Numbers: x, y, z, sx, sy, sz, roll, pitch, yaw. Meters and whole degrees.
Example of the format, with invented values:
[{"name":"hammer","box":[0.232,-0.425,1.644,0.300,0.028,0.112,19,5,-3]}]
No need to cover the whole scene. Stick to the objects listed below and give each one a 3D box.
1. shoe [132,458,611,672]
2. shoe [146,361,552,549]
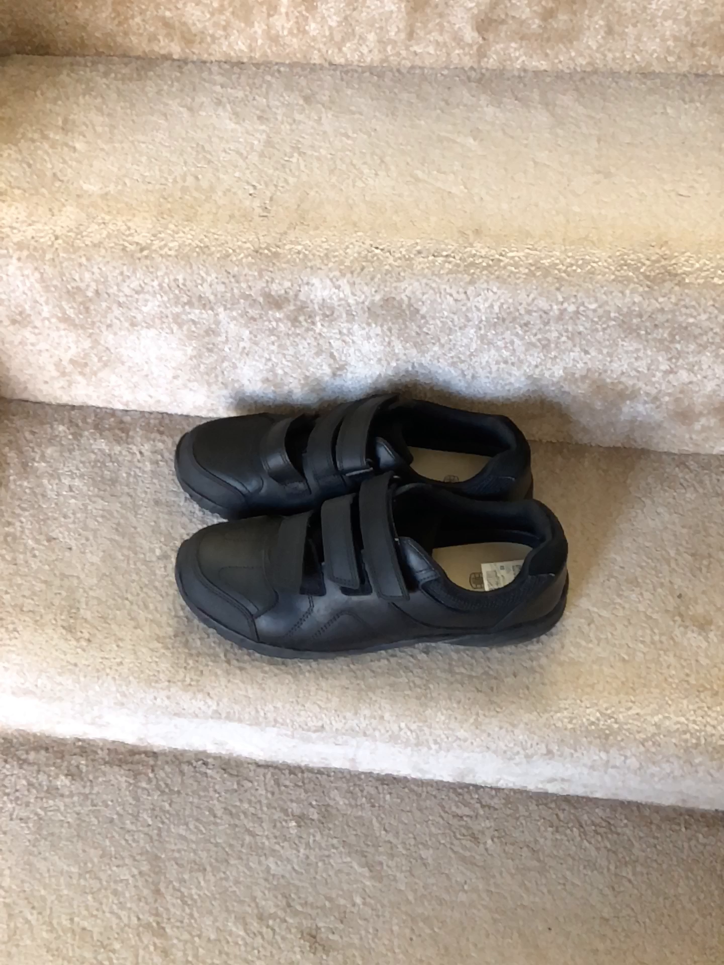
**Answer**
[{"name":"shoe","box":[0.006,0.054,0.519,0.270,0.099,0.101,0,53,2]},{"name":"shoe","box":[-0.007,-0.019,0.600,0.270,0.099,0.101,0,53,2]}]
